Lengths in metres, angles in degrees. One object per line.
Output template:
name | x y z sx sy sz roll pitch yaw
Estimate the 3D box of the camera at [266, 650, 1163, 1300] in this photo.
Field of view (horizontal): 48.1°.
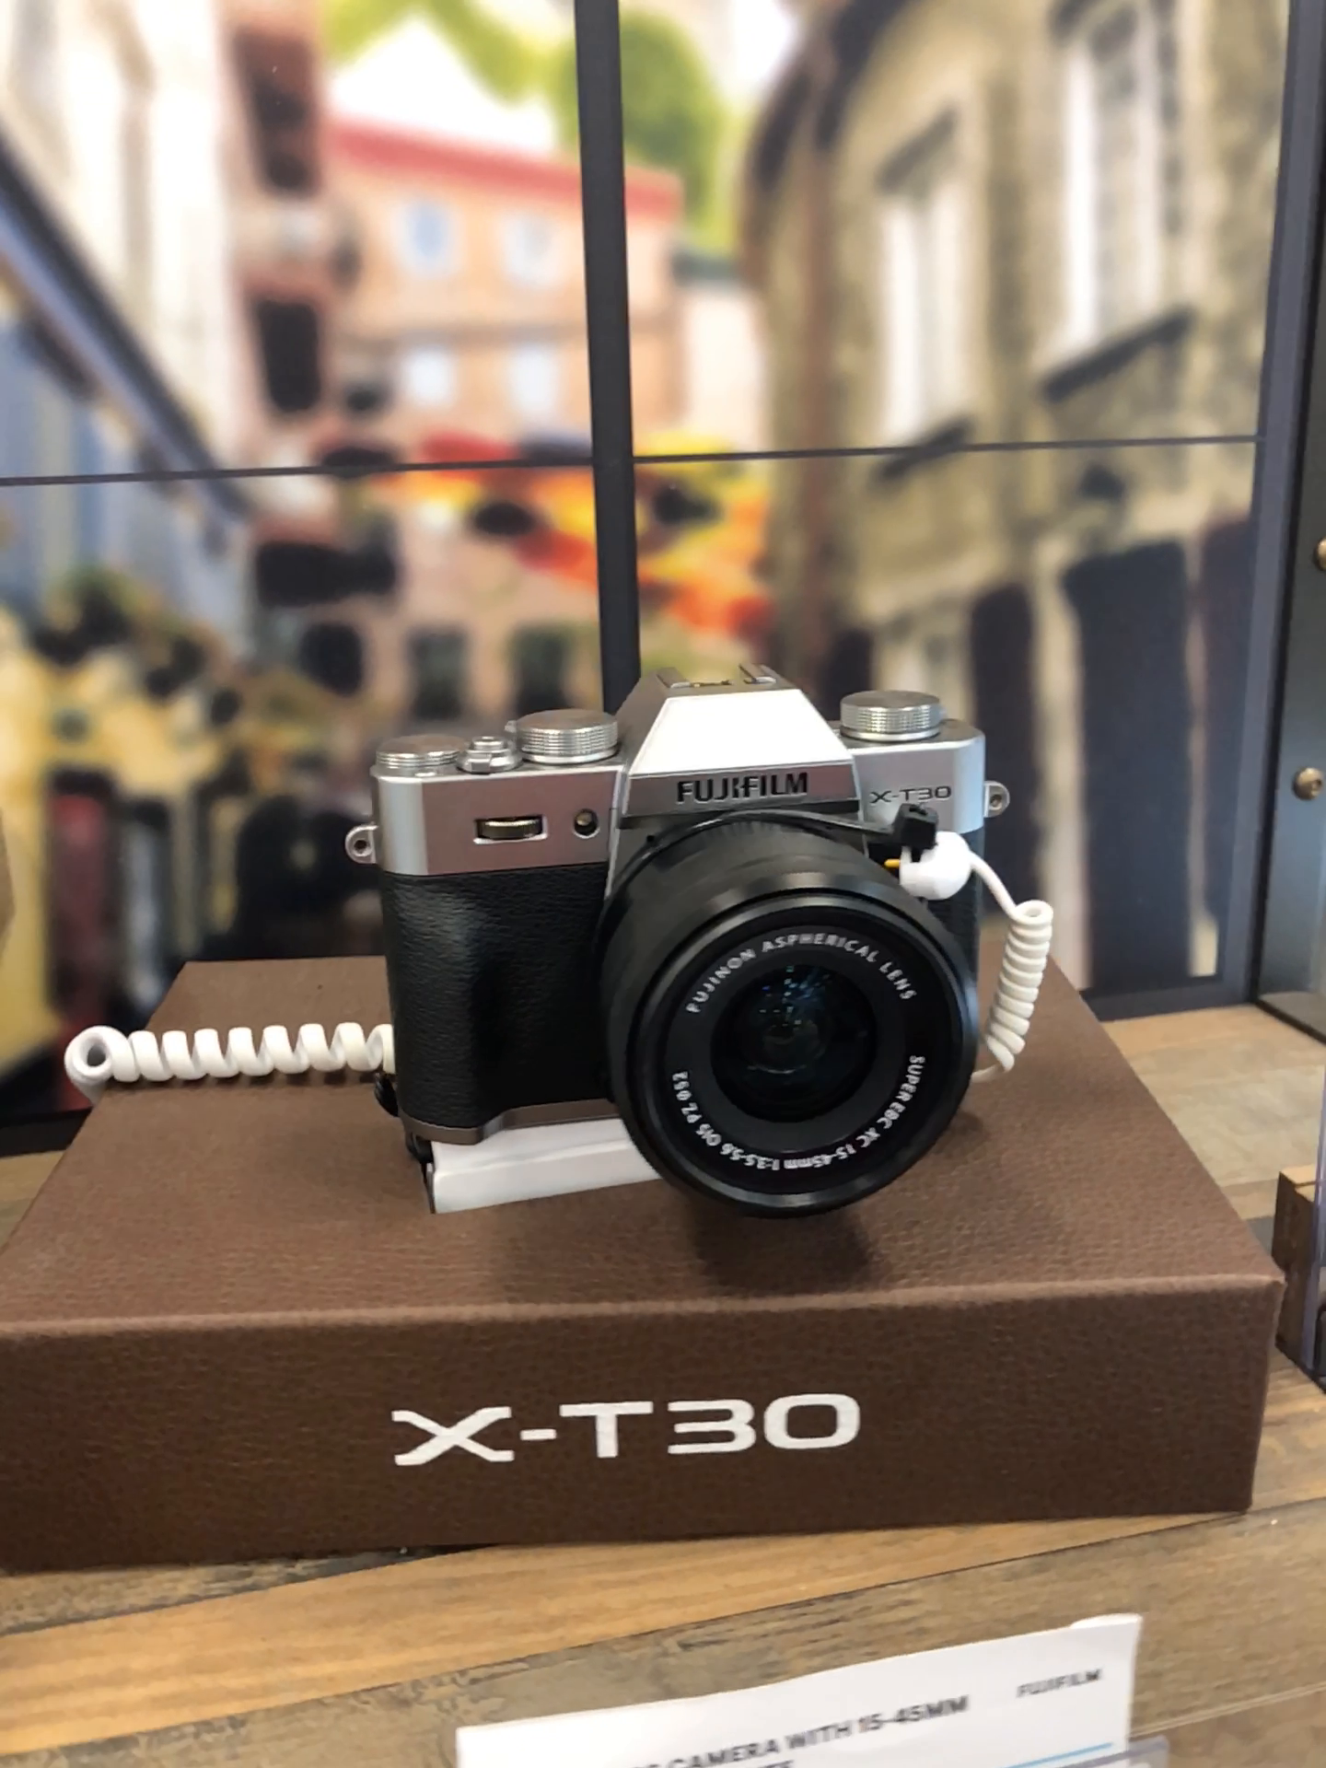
camera | 0.004 0.008 0.266 0.130 0.080 0.090 -4 18 -7
